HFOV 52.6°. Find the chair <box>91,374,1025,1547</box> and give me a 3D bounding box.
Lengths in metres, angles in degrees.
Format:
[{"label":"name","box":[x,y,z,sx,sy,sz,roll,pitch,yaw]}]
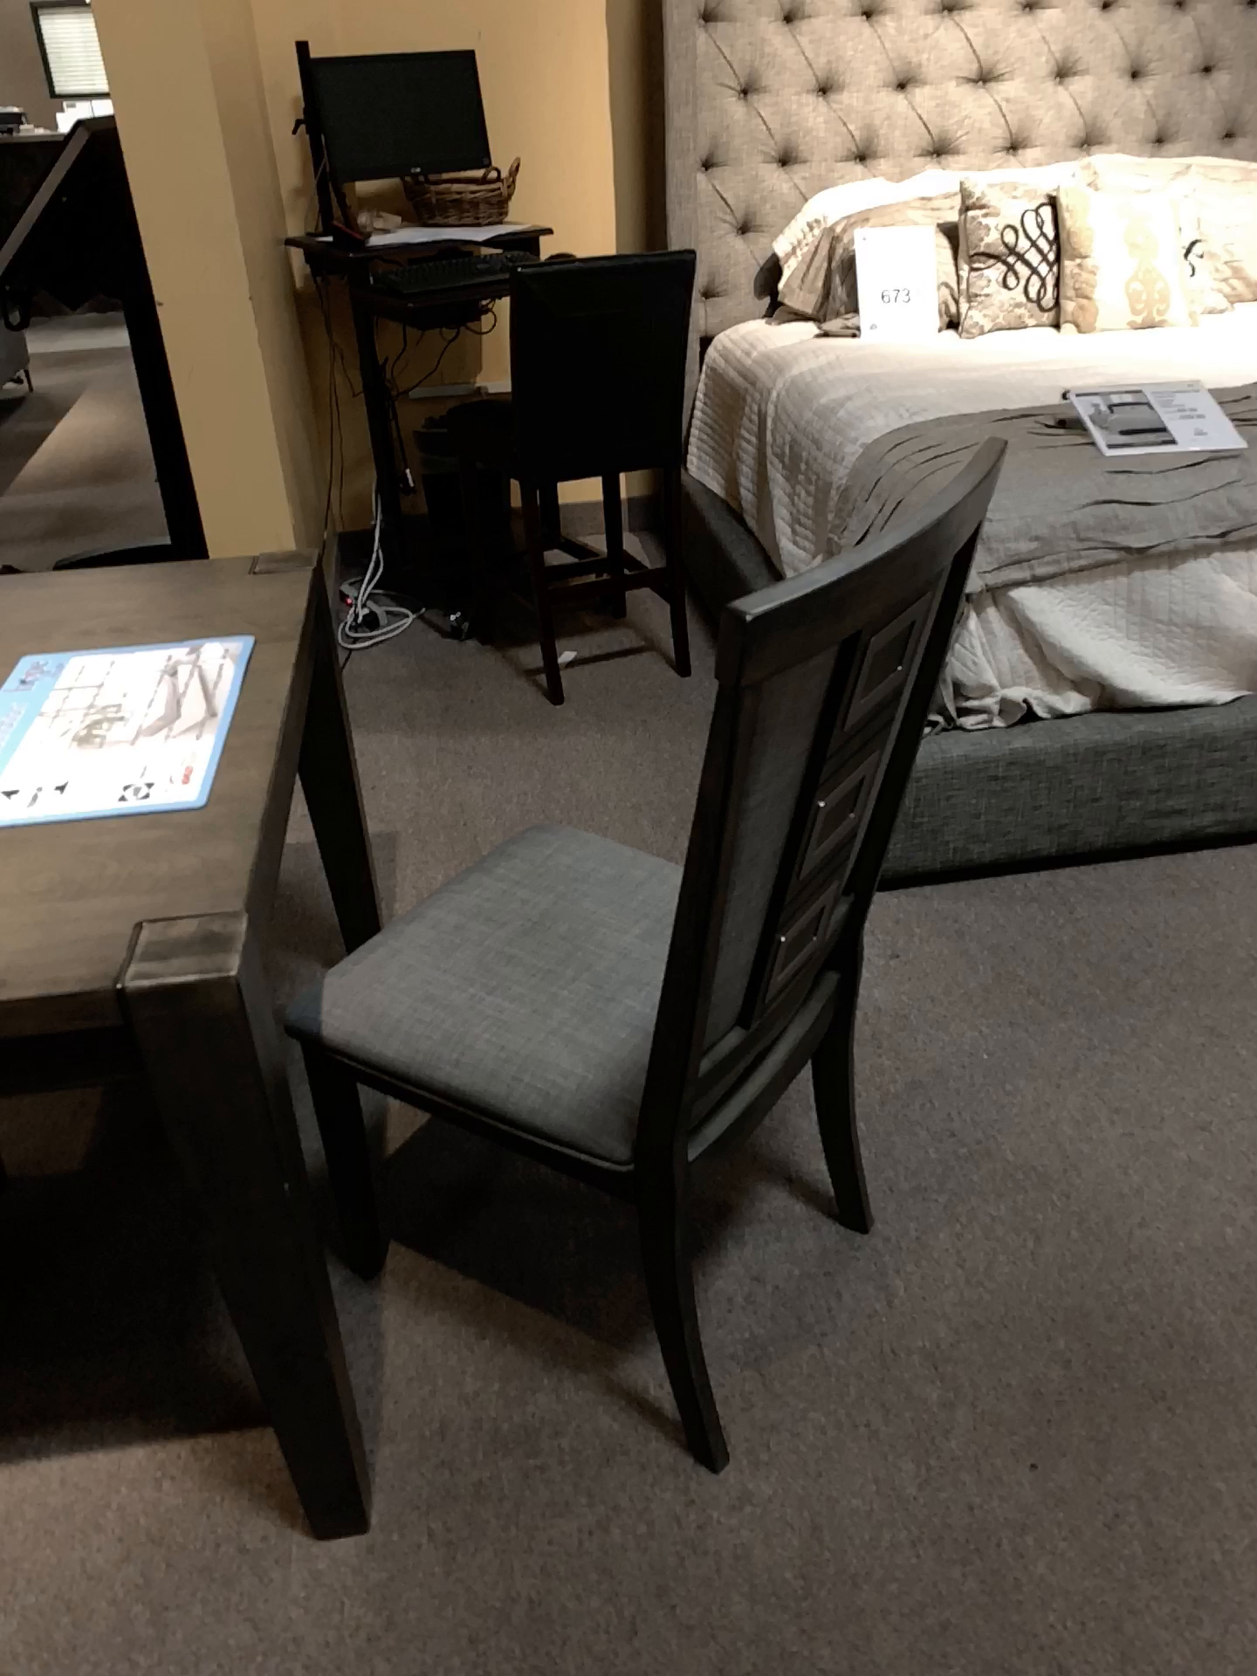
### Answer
[{"label":"chair","box":[-0.031,0.095,1.371,0.643,0.997,0.516,16,35,28]}]
